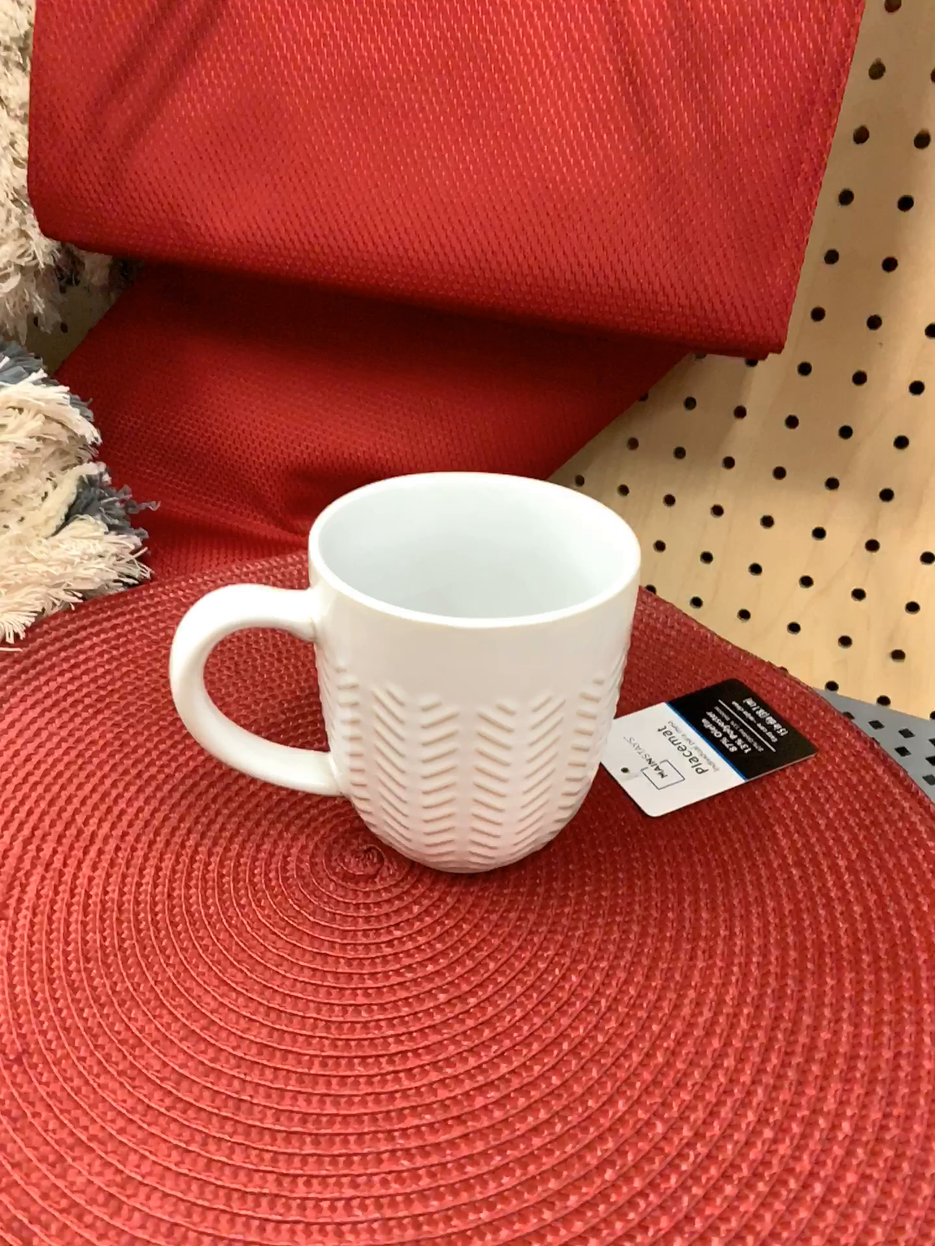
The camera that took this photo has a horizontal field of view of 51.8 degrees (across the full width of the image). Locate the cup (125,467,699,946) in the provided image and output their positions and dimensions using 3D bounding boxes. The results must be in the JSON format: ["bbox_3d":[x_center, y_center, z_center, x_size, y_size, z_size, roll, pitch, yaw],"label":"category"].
[{"bbox_3d":[-0.022,0.013,0.288,0.140,0.090,0.100,-7,21,-17],"label":"cup"}]
